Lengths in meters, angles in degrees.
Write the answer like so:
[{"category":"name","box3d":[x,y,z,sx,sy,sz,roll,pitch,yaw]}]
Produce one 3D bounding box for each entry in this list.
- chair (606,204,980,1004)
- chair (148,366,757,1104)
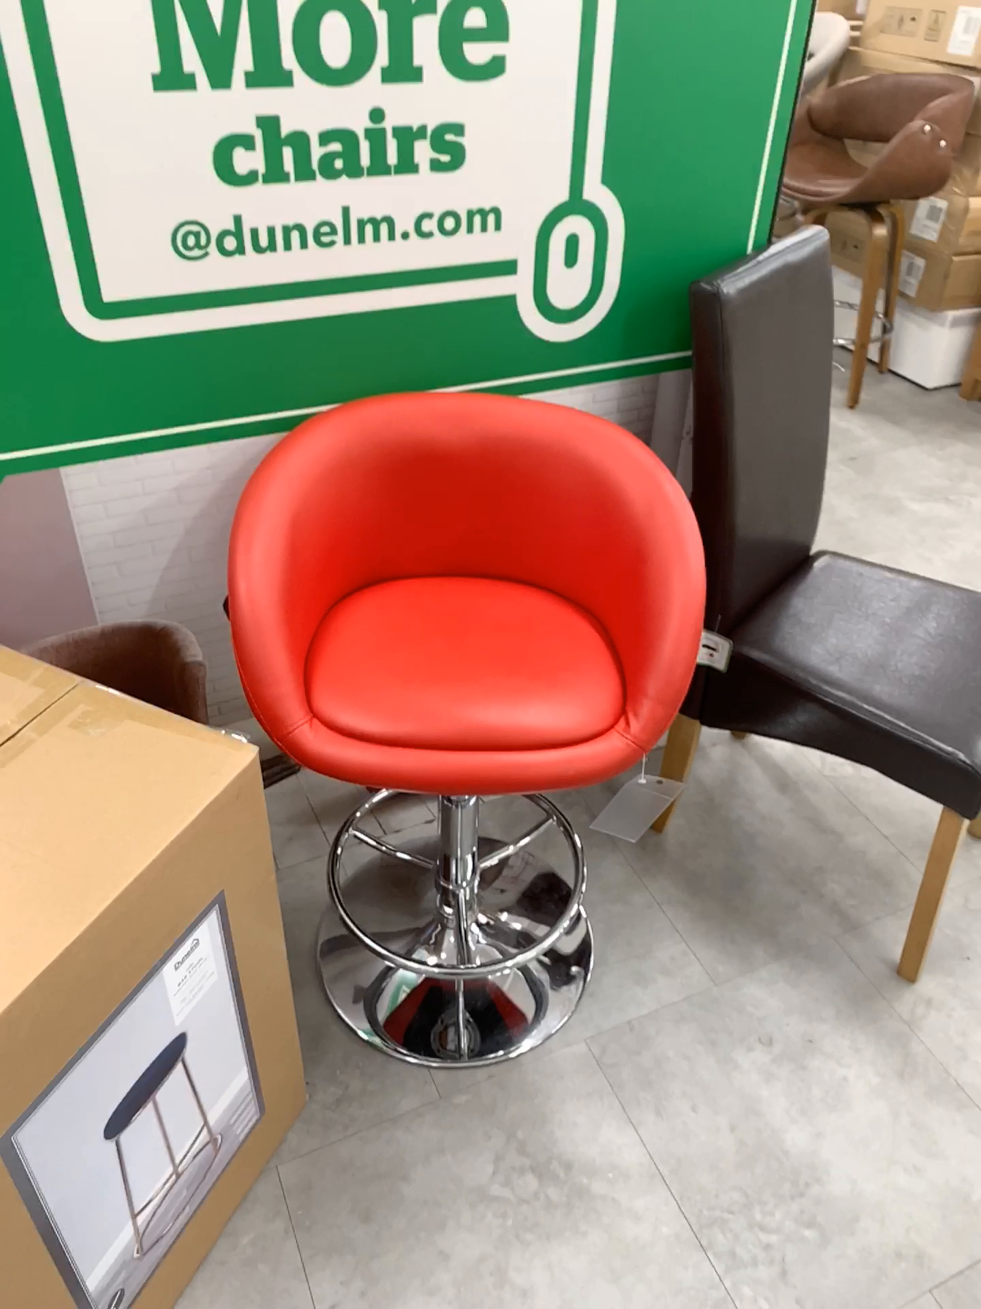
[{"category":"chair","box3d":[0.546,-0.072,1.442,0.519,0.919,0.447,26,43,30]},{"category":"chair","box3d":[-0.047,0.106,1.233,0.494,0.760,0.482,-1,36,-3]}]
